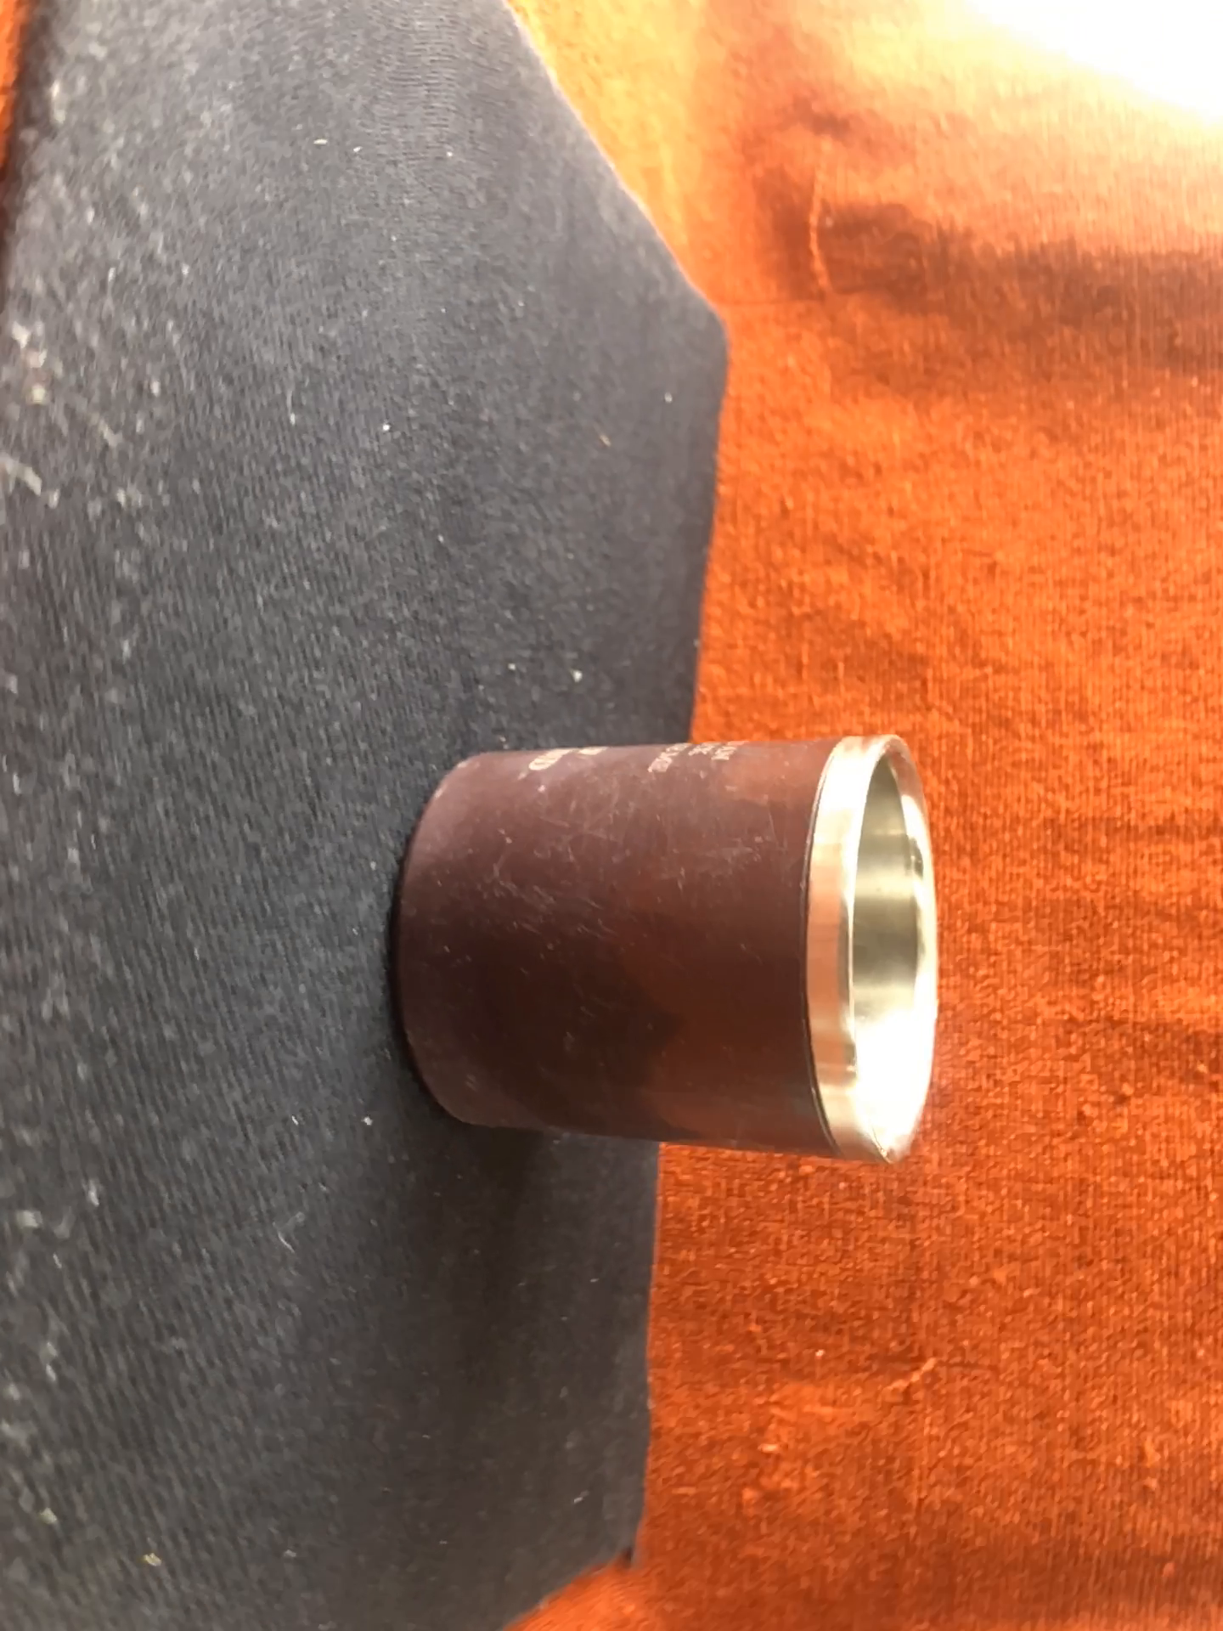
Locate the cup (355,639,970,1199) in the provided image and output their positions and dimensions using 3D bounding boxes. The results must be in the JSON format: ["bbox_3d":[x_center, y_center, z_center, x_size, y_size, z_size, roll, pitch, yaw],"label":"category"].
[{"bbox_3d":[0.021,0.028,0.292,0.111,0.089,0.090,38,55,-62],"label":"cup"}]
